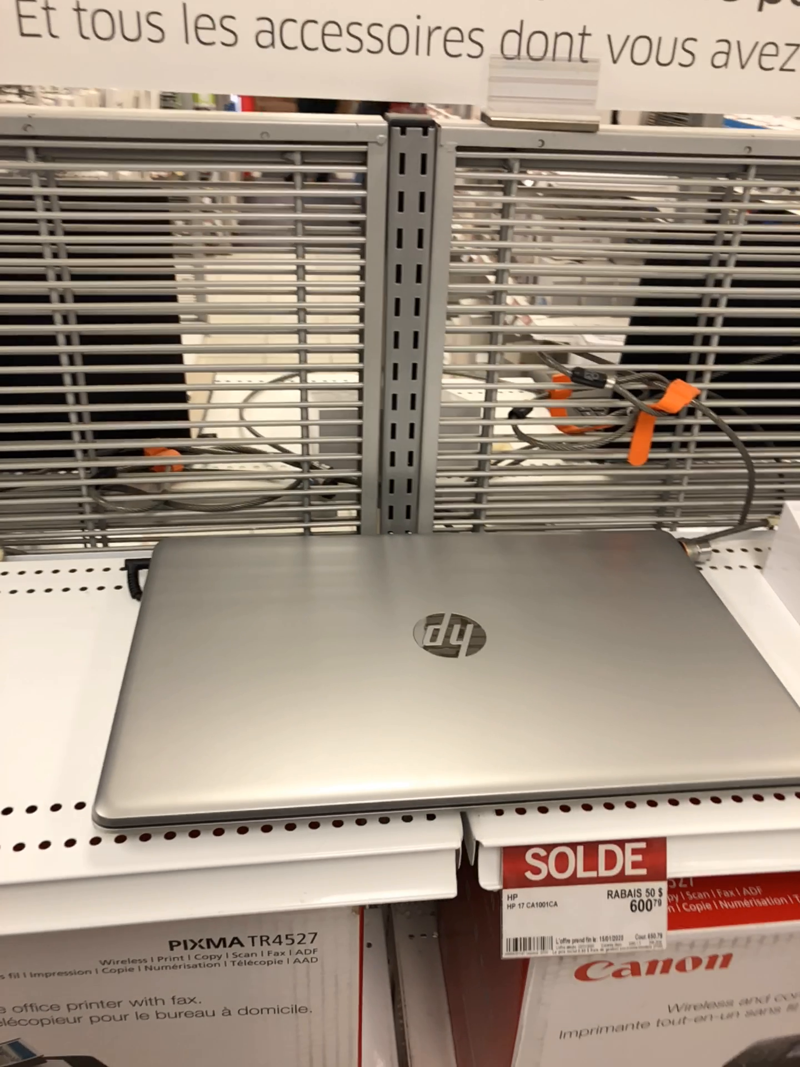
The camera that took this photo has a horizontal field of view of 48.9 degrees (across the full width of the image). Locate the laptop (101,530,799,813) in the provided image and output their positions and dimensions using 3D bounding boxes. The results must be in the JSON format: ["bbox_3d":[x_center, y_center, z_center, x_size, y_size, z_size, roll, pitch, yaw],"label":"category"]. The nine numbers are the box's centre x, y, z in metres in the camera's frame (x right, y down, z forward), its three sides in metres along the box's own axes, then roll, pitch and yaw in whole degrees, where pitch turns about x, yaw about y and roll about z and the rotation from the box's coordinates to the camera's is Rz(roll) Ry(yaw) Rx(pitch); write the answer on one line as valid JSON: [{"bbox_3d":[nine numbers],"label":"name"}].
[{"bbox_3d":[0.031,0.073,0.611,0.416,0.002,0.278,-2,30,-6],"label":"laptop"}]
